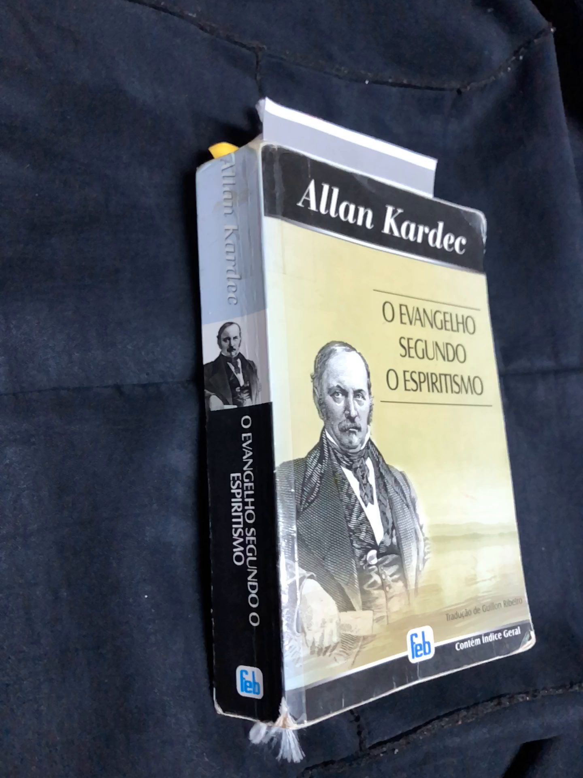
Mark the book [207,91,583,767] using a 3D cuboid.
[{"bbox_3d":[0.049,0.010,0.275,0.151,0.050,0.220,2,79,-36],"label":"book"}]
